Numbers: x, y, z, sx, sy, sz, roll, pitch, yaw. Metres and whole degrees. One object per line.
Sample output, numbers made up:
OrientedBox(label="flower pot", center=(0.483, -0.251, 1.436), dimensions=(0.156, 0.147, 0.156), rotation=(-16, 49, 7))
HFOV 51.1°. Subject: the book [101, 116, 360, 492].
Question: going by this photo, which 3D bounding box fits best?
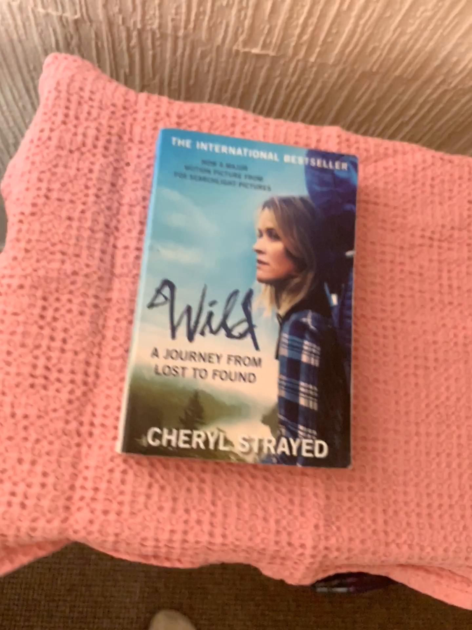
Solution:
OrientedBox(label="book", center=(0.003, -0.008, 0.300), dimensions=(0.140, 0.030, 0.210), rotation=(5, 77, -9))
